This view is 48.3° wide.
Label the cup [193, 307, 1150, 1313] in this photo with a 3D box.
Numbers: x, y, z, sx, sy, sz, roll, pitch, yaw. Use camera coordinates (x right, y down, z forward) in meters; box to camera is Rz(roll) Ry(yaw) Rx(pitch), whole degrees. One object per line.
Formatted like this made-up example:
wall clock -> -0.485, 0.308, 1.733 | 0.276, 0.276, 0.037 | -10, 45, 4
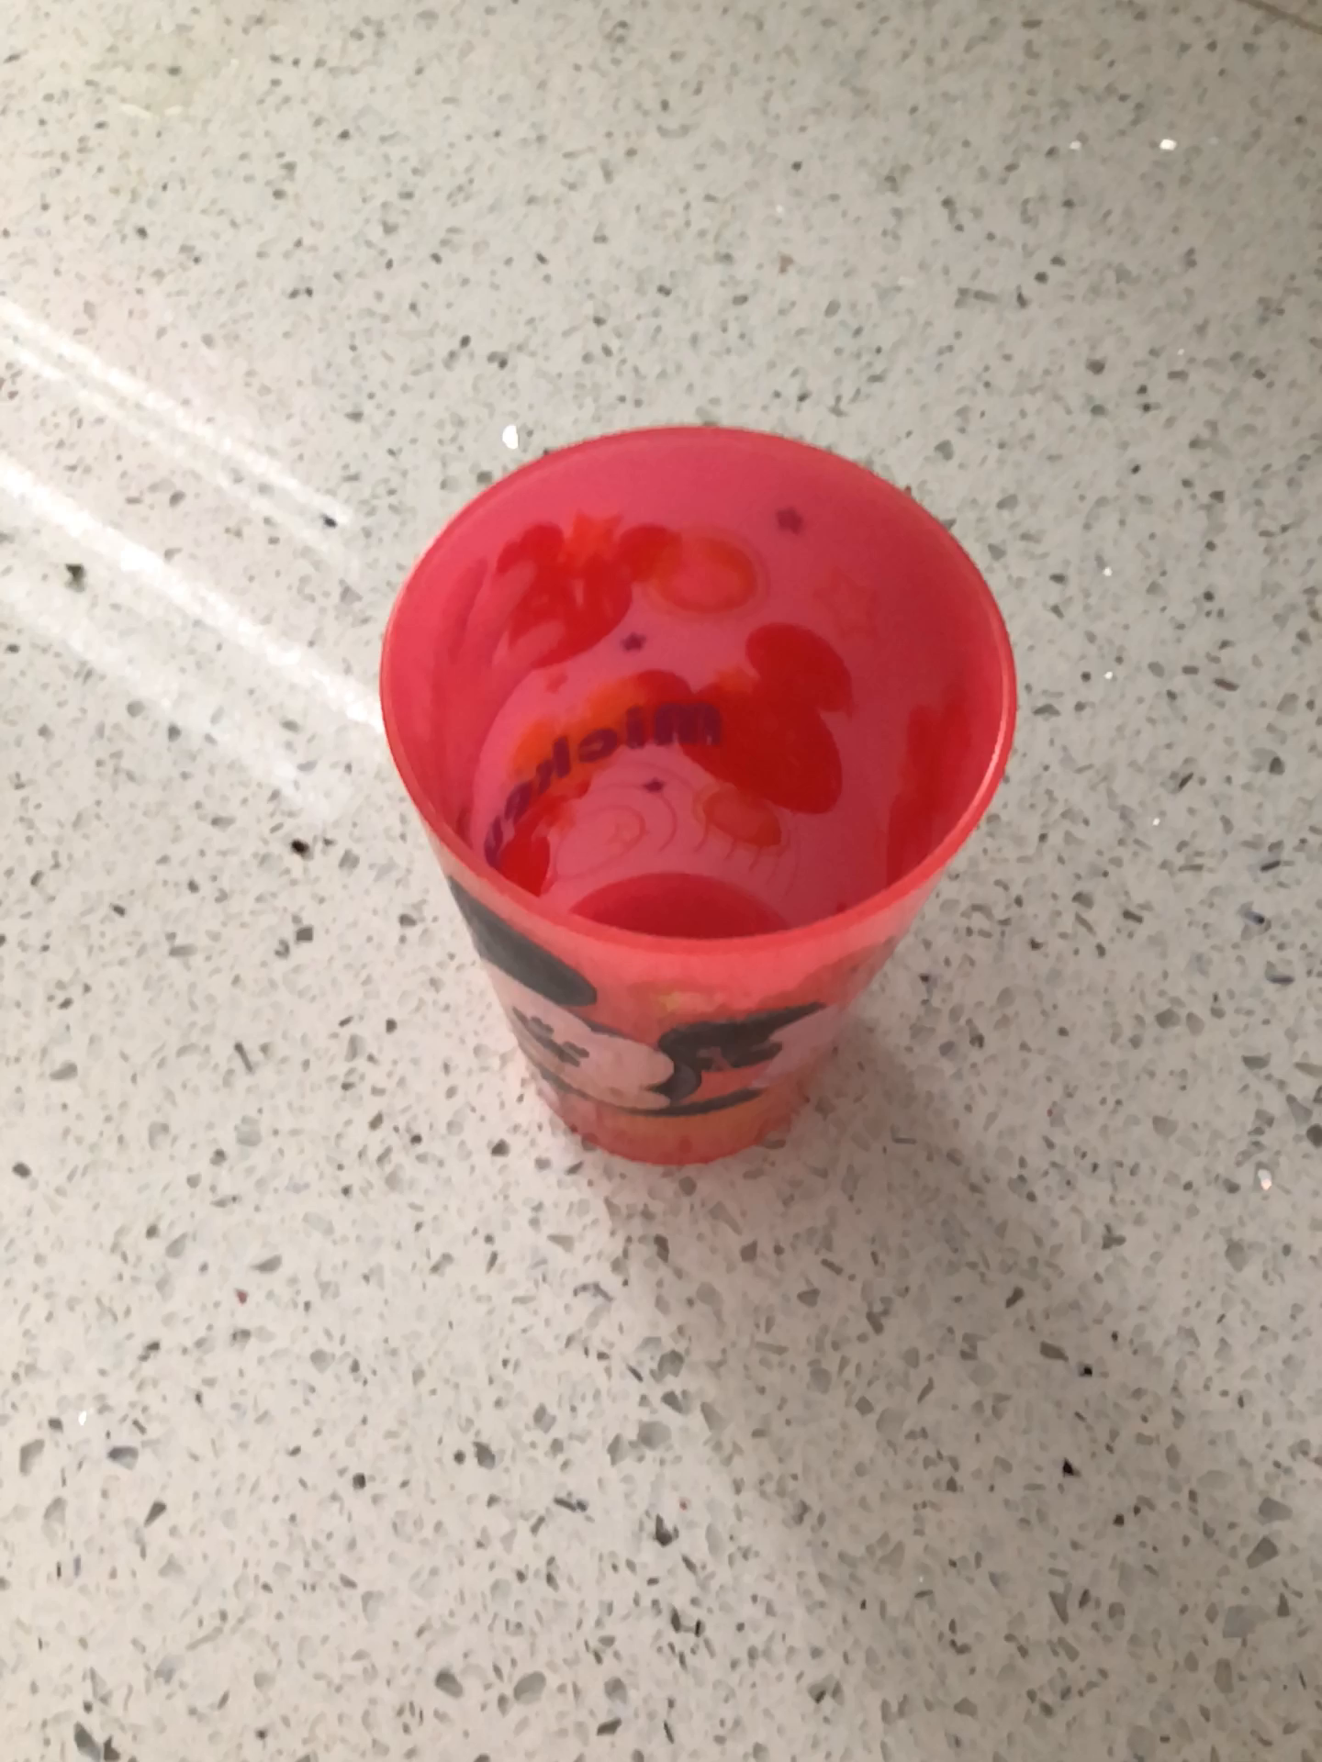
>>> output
cup -> 0.001, -0.003, 0.199 | 0.073, 0.097, 0.071 | 0, 63, -1
